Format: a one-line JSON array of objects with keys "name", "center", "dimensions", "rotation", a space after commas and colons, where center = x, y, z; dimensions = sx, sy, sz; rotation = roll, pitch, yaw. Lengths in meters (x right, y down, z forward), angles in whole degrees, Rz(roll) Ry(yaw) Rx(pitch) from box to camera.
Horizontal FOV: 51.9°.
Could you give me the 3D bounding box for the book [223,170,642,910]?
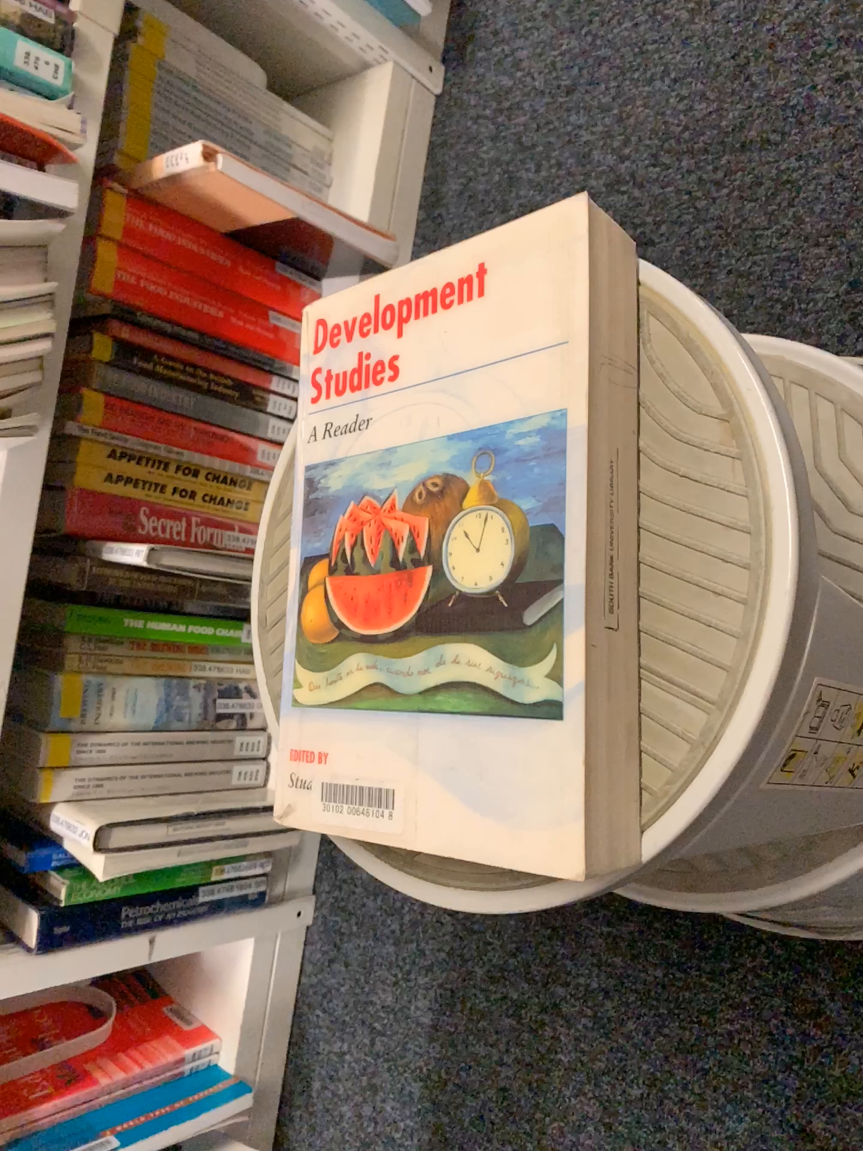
[{"name": "book", "center": [-0.005, -0.009, 0.334], "dimensions": [0.160, 0.045, 0.224], "rotation": [-5, 80, 41]}]
